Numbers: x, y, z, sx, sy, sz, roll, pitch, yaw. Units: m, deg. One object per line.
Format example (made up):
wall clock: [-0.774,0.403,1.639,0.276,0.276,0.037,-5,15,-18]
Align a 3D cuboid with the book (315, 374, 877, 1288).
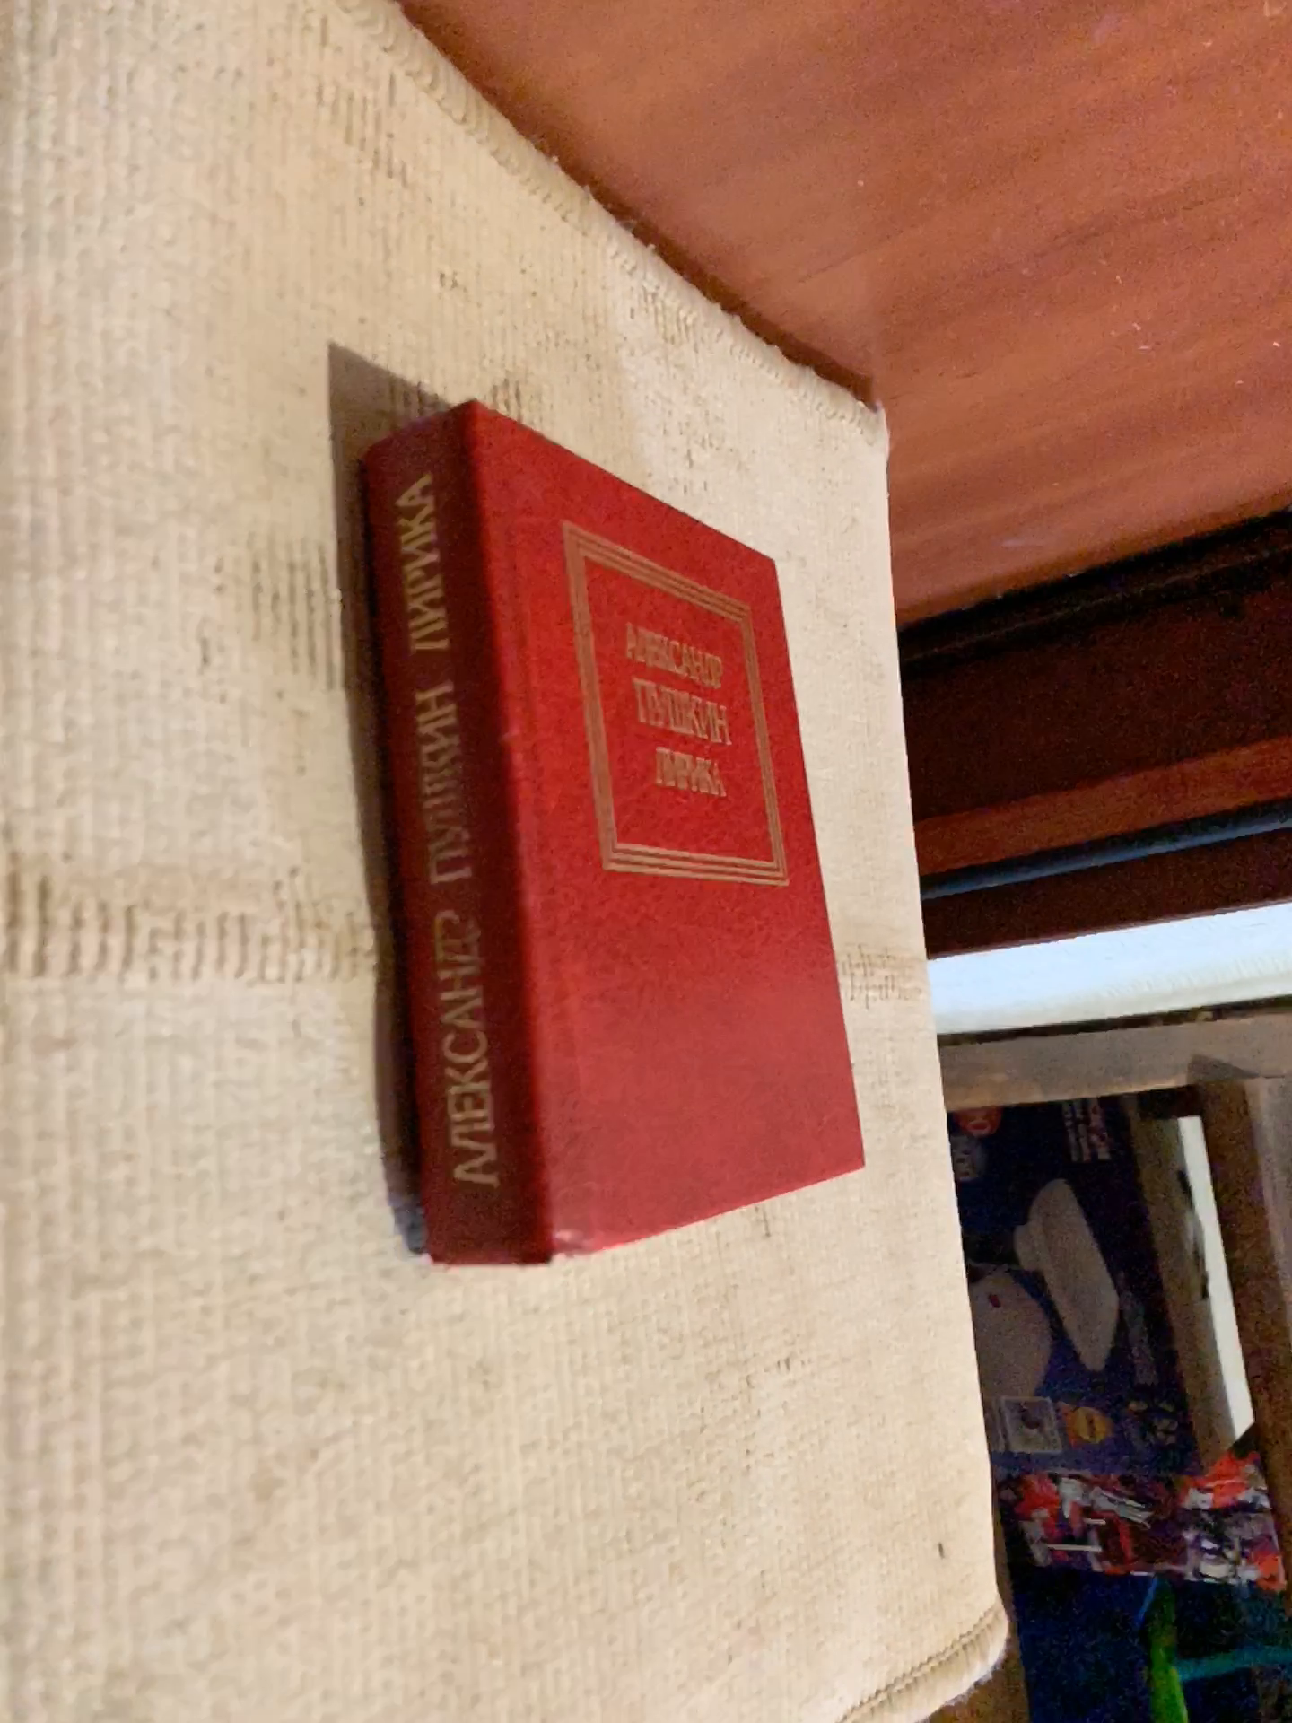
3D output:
book: [-0.004,-0.002,0.269,0.120,0.034,0.148,9,72,-55]
